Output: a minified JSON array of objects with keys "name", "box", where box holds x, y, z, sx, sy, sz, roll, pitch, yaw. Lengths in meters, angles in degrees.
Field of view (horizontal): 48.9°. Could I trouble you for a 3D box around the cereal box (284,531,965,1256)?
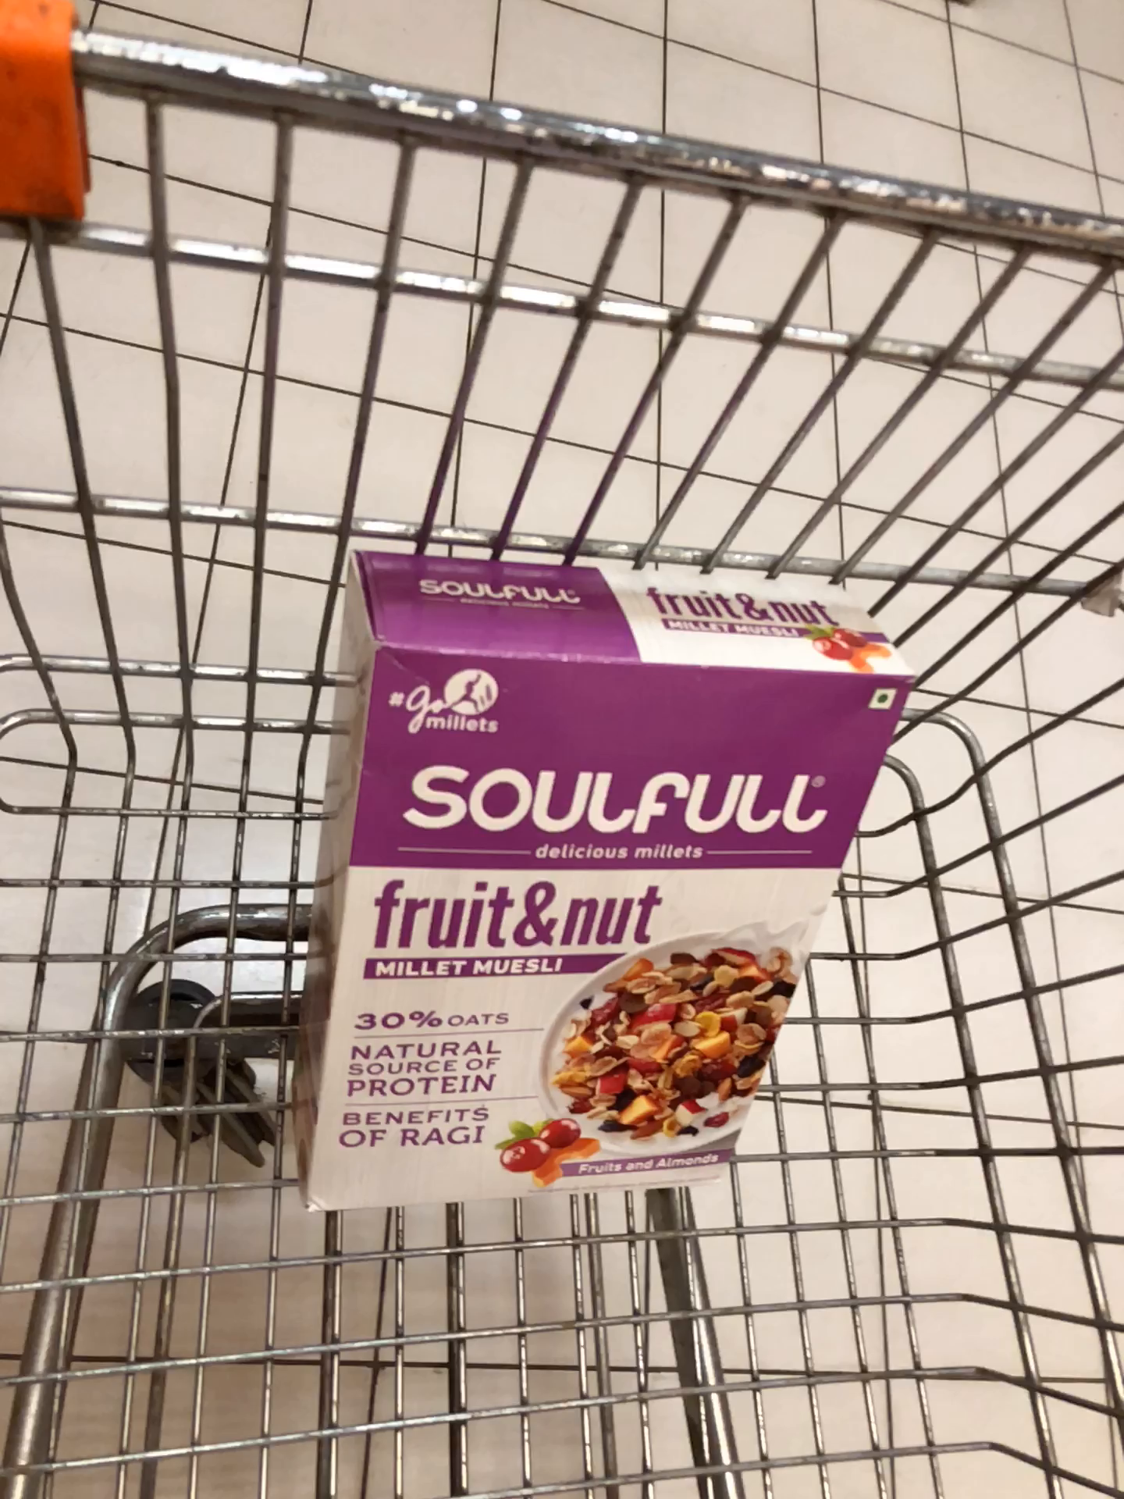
[{"name":"cereal box","box":[0.003,0.058,0.417,0.170,0.239,0.070,1,34,-17]}]
